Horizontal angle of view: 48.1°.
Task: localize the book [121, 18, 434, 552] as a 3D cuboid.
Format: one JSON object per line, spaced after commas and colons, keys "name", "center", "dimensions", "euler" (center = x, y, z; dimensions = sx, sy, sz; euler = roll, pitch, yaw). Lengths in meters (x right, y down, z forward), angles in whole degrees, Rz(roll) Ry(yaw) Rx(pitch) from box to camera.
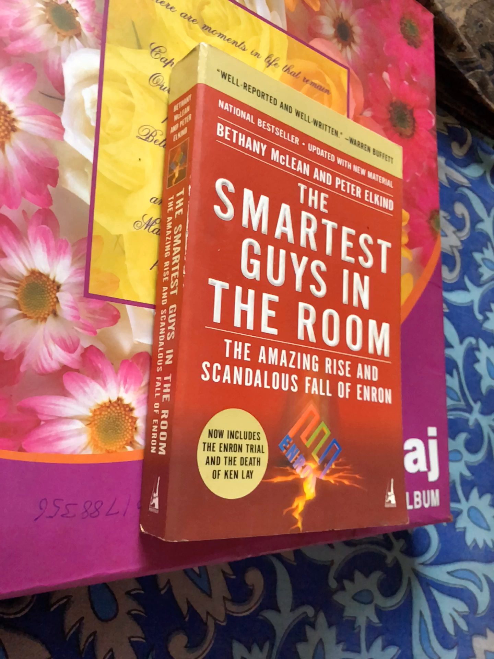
{"name": "book", "center": [0.027, -0.014, 0.277], "dimensions": [0.151, 0.040, 0.220], "euler": [10, 78, -32]}
